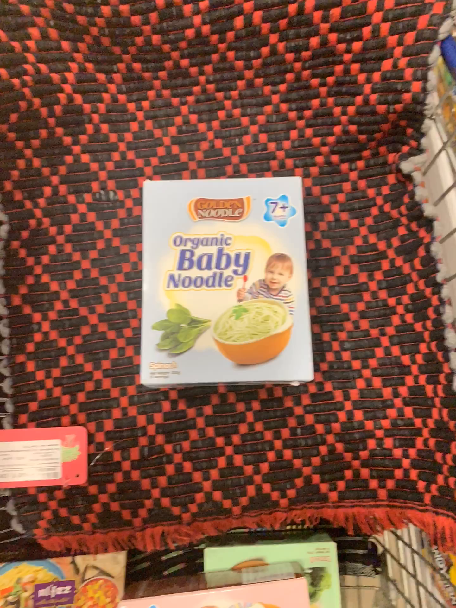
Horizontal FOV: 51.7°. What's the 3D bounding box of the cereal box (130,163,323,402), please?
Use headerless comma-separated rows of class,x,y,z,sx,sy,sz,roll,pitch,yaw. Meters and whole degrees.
cereal box,-0.004,-0.015,0.358,0.130,0.050,0.170,-2,79,-1
